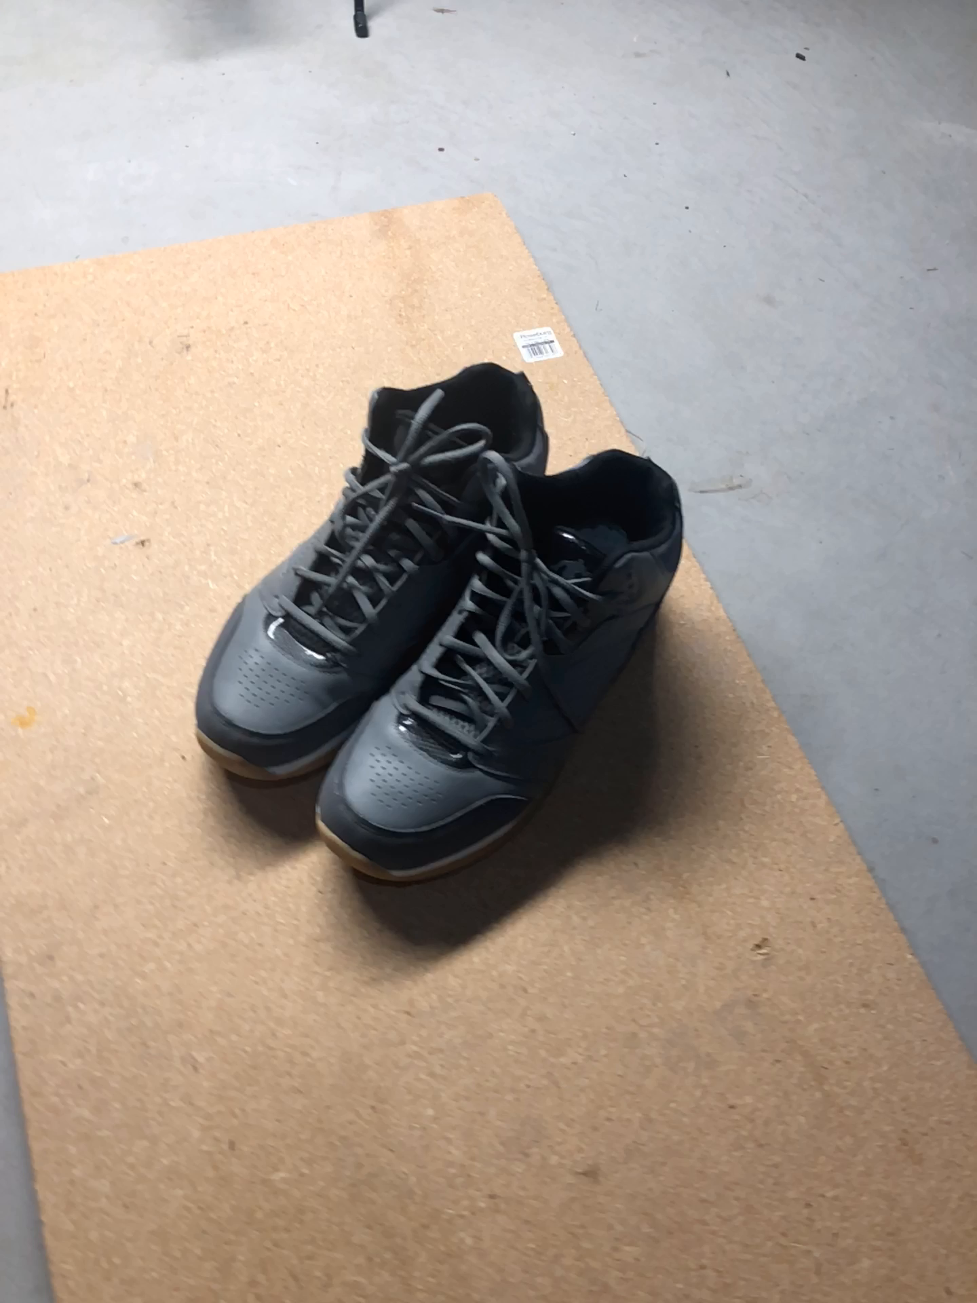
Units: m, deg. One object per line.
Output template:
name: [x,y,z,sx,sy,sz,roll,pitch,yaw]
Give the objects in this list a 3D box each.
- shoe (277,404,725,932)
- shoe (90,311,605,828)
shoe: [0.010,0.006,0.613,0.100,0.140,0.260,33,61,14]
shoe: [-0.069,-0.054,0.623,0.110,0.120,0.280,37,62,15]
